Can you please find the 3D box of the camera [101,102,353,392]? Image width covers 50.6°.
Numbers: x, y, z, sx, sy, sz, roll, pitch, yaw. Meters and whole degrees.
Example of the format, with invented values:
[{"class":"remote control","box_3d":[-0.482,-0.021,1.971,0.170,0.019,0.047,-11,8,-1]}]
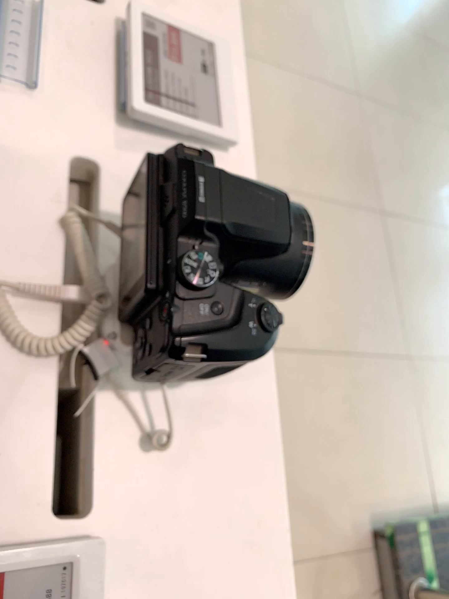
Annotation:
[{"class":"camera","box_3d":[-0.005,-0.017,0.256,0.100,0.080,0.120,6,68,-25]}]
